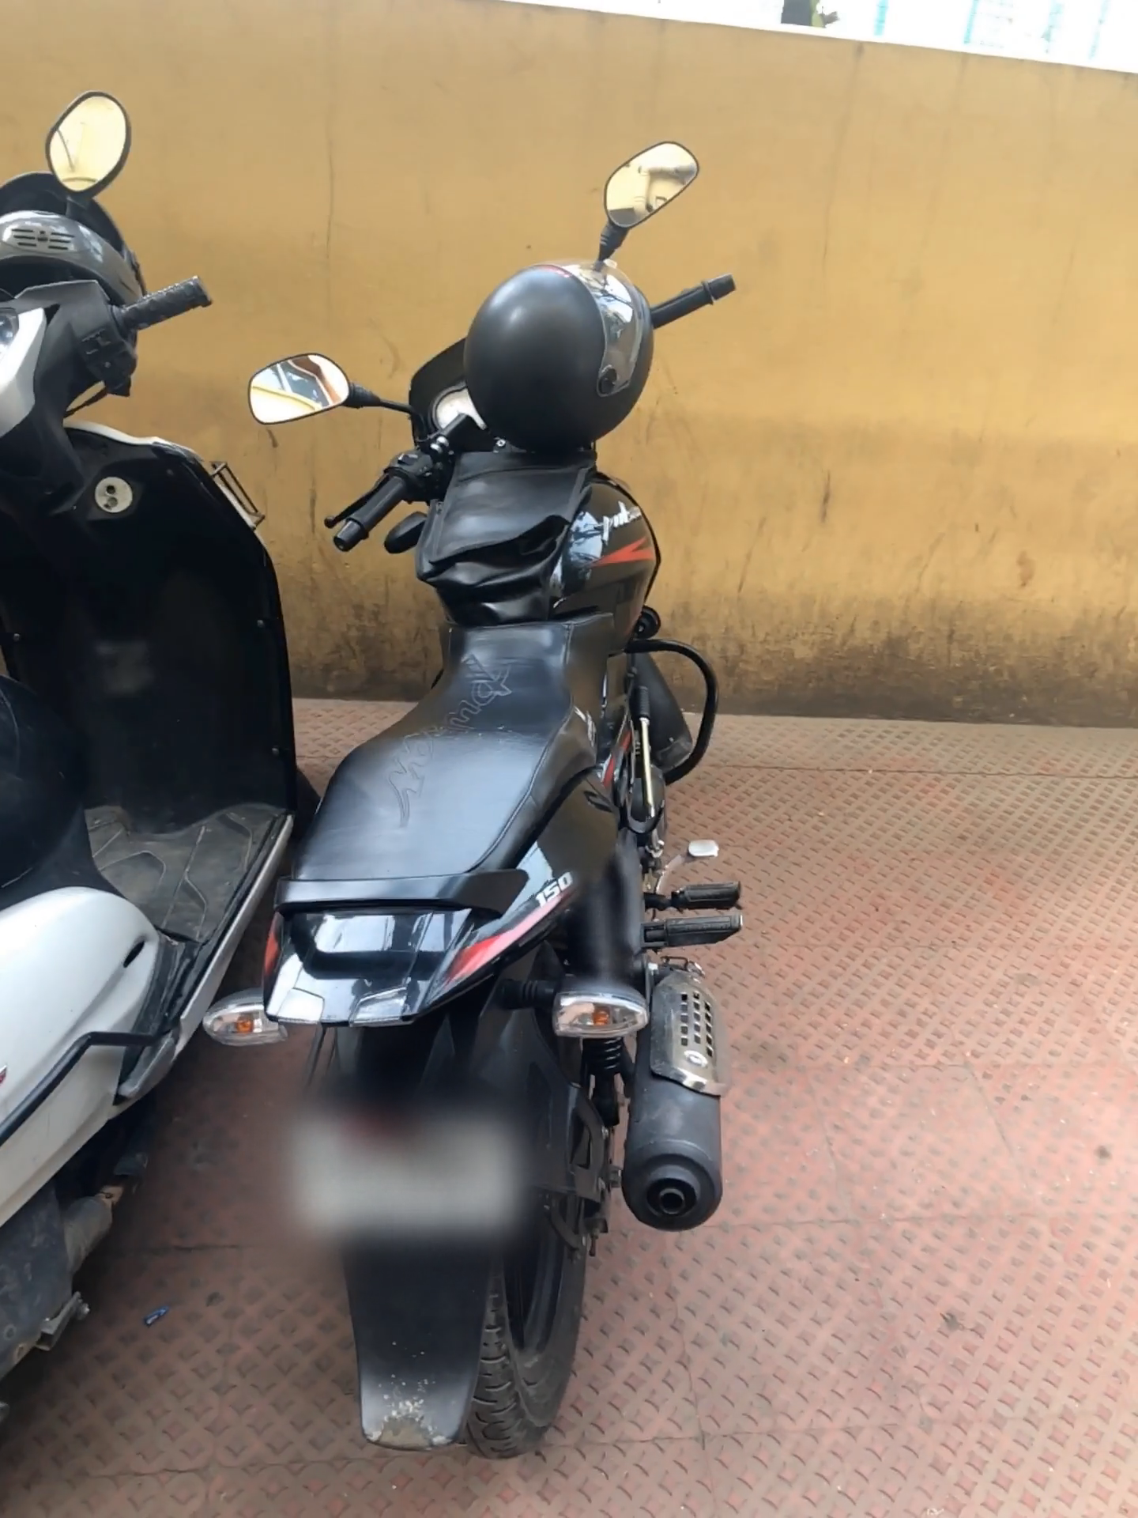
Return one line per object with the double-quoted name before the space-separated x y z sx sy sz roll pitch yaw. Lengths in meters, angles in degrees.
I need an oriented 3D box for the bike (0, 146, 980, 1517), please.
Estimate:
"bike" -0.235 -0.091 1.773 0.826 1.057 1.613 3 35 -5
